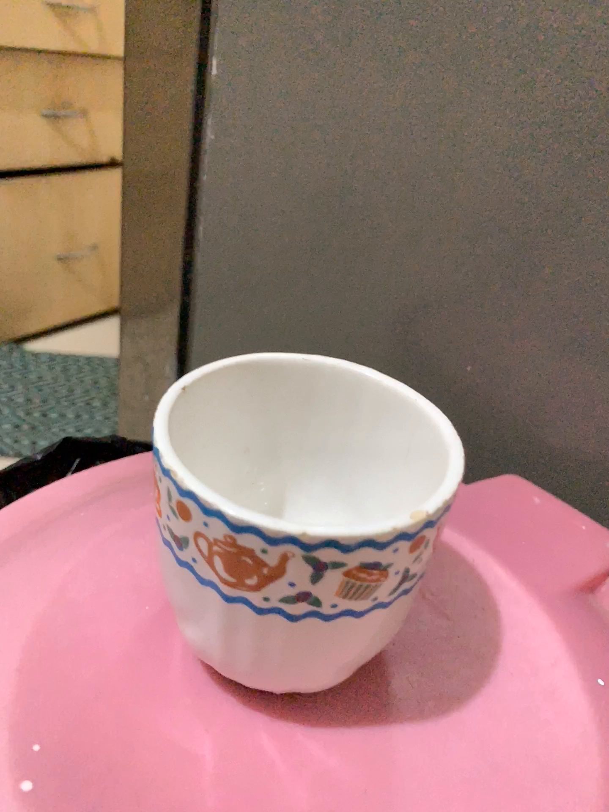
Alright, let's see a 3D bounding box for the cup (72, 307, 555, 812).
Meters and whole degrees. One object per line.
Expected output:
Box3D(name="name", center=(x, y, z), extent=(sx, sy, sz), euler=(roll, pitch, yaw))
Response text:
Box3D(name="cup", center=(-0.001, 0.025, 0.151), extent=(0.076, 0.062, 0.072), euler=(8, 29, -4))
